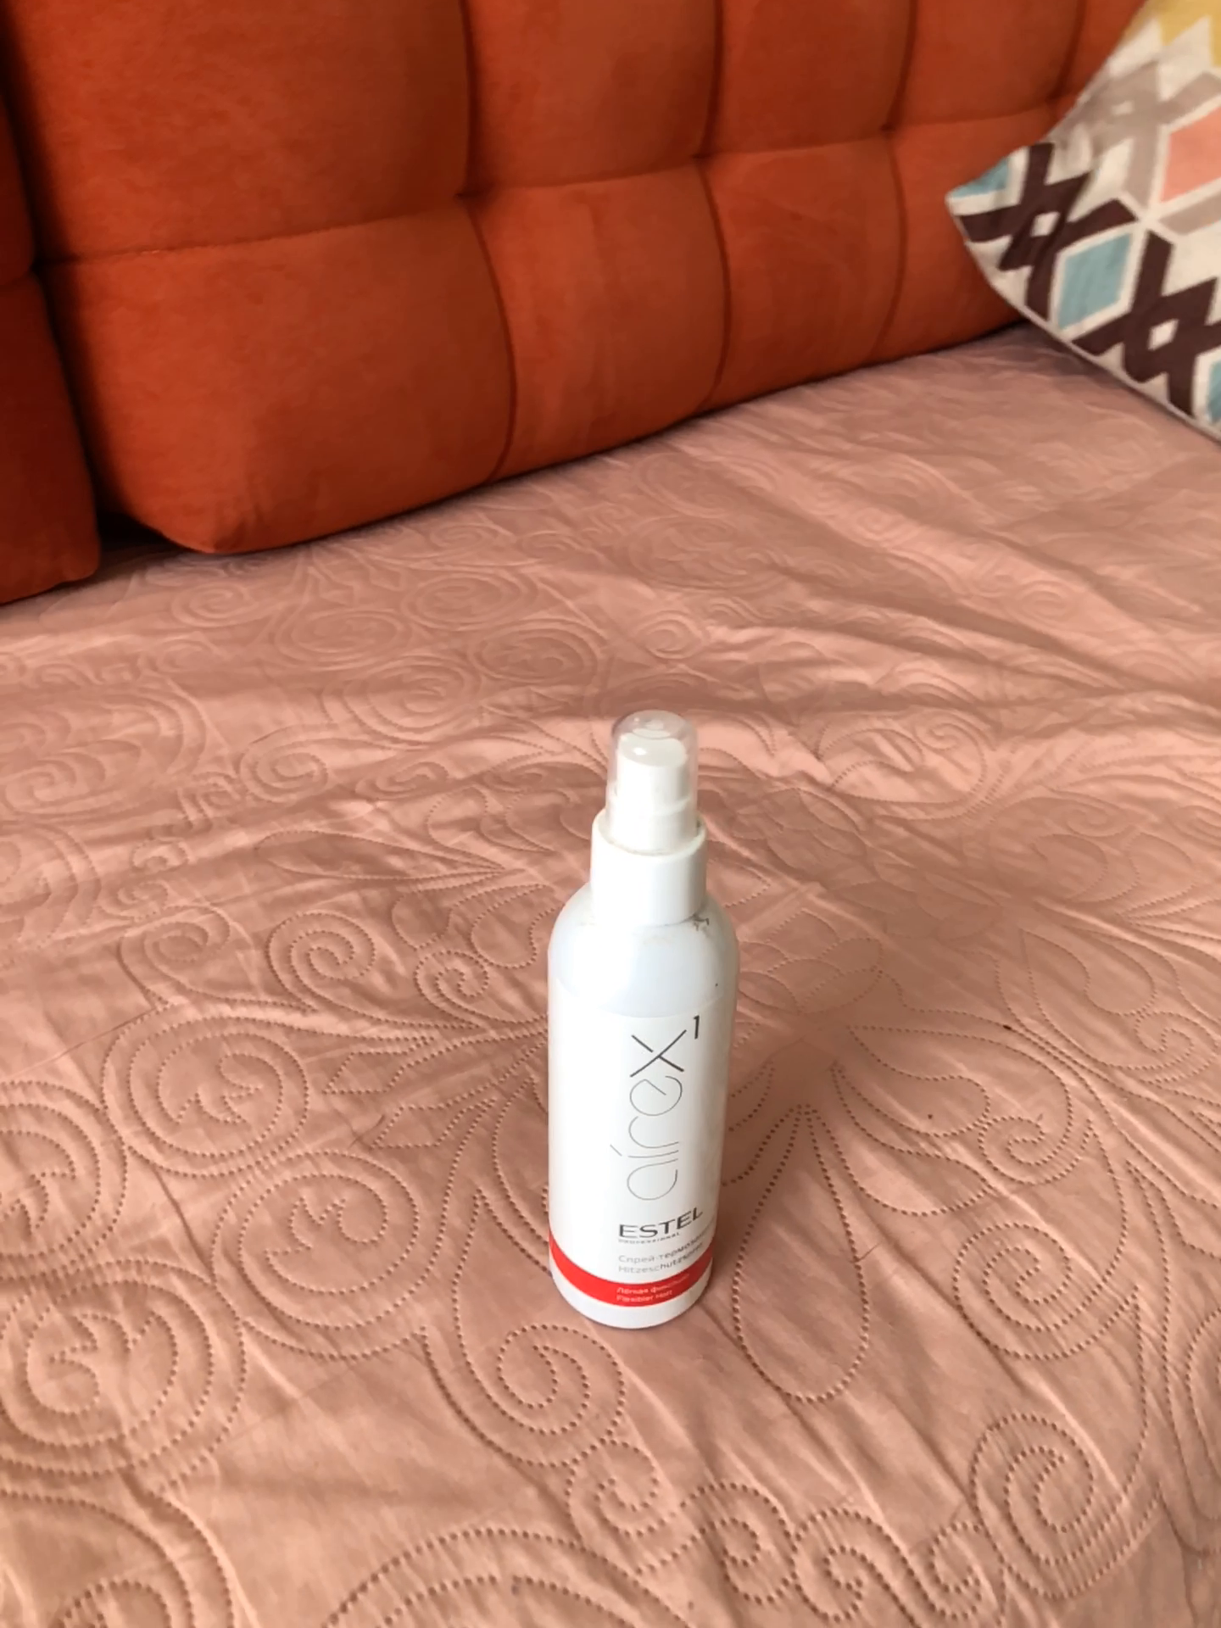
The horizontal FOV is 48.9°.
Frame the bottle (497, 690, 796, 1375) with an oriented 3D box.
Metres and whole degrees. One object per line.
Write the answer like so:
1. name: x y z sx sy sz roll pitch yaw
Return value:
1. bottle: 0.005 0.059 0.331 0.050 0.169 0.050 1 34 0
